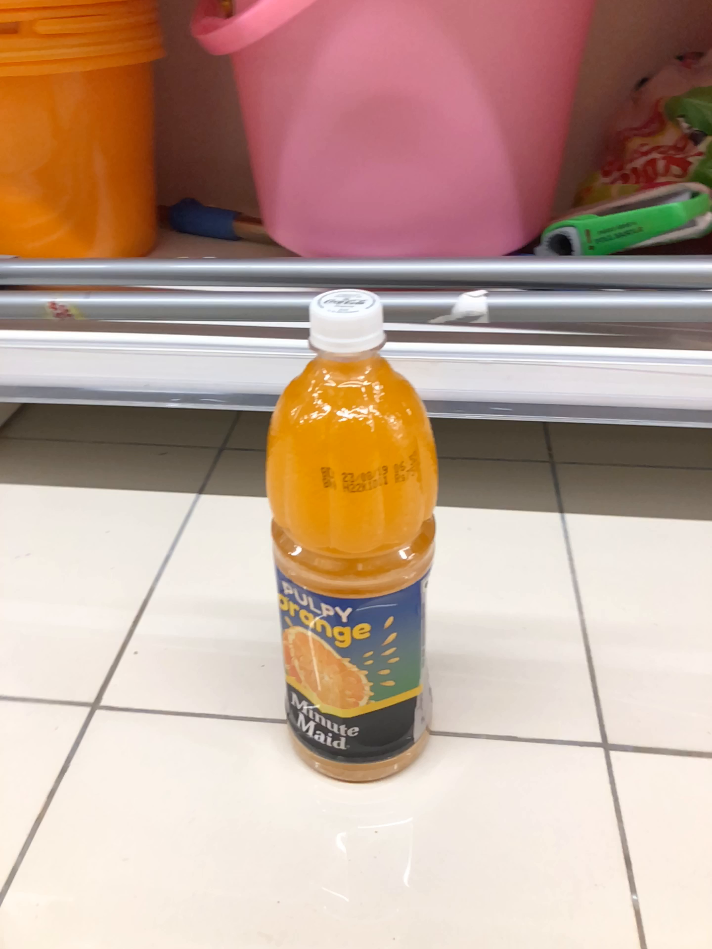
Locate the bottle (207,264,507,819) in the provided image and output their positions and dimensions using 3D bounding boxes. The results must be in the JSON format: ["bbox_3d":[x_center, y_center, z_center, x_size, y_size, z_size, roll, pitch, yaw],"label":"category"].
[{"bbox_3d":[0.007,0.037,0.382,0.090,0.246,0.091,-1,32,1],"label":"bottle"}]
